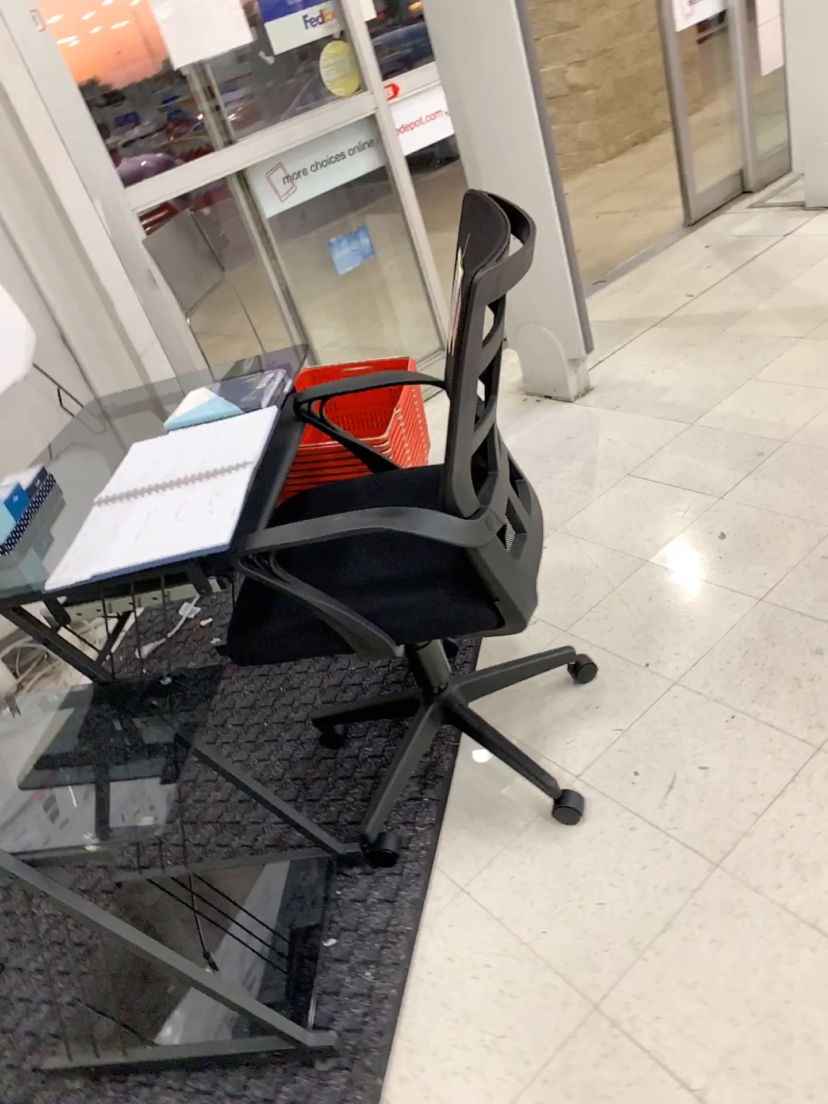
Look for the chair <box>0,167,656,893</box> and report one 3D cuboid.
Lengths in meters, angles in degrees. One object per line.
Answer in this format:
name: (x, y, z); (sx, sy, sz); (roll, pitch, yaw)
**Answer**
chair: (-0.069, -0.021, 1.474); (0.694, 0.942, 0.617); (-14, 32, 10)
